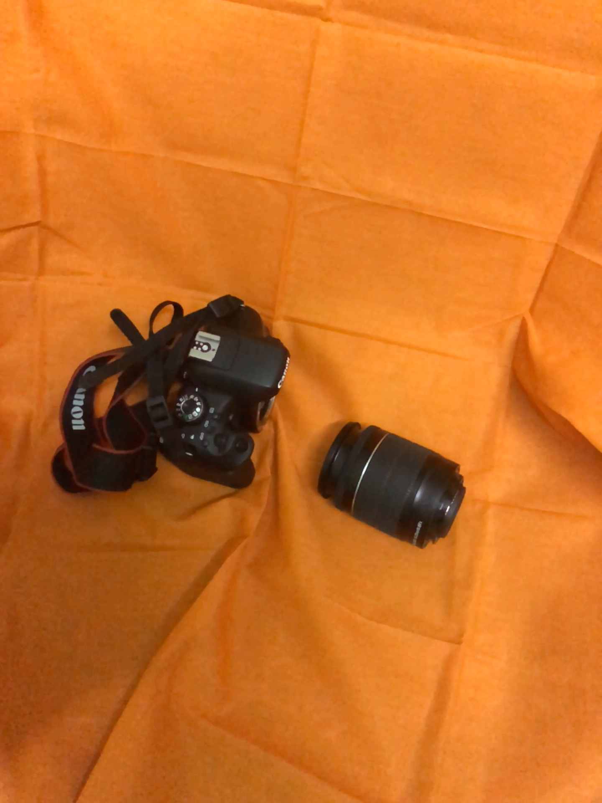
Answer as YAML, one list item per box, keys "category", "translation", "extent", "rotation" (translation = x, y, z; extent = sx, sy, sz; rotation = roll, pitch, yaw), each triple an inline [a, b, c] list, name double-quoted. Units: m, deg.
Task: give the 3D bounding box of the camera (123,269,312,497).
- category: "camera"
  translation: [-0.055, -0.013, 0.494]
  extent: [0.092, 0.071, 0.134]
  rotation: [15, 69, 7]
